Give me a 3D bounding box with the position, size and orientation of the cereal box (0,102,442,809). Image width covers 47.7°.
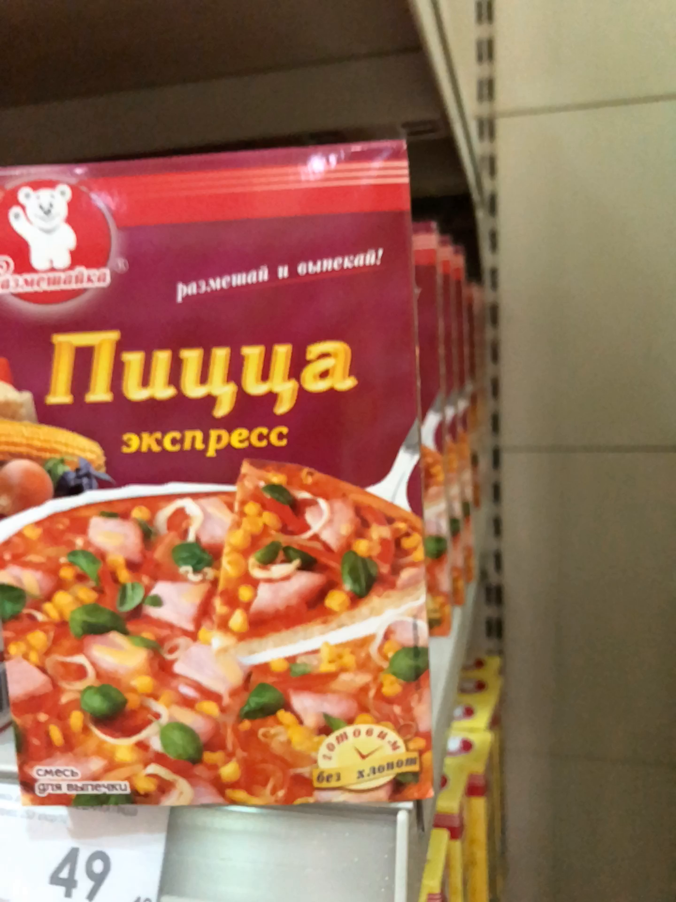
[{"bbox_3d":[-0.044,0.005,0.229,0.140,0.190,0.040,-2,6,4],"label":"cereal box"}]
